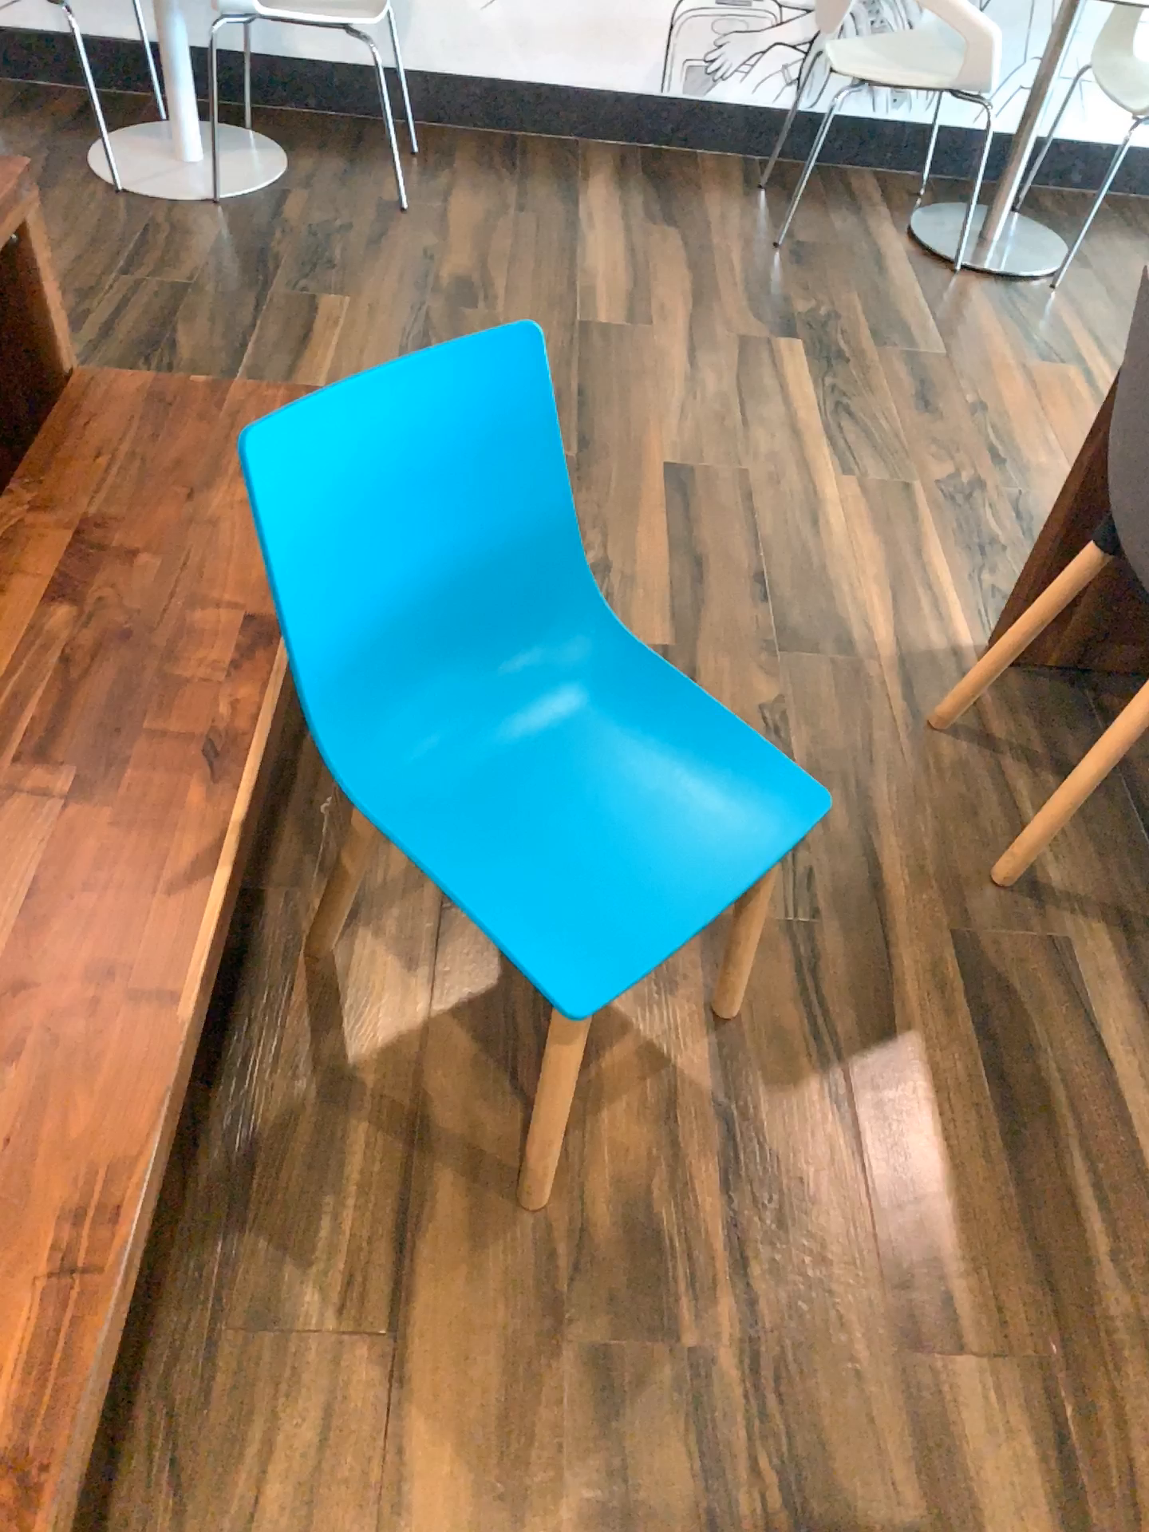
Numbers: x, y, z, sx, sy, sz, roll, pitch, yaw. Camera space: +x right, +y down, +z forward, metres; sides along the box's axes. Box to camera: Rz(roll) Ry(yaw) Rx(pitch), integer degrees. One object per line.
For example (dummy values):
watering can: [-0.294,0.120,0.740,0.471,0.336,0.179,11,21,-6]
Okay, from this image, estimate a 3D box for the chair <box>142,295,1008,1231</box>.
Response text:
chair: [-0.031,-0.012,1.276,0.512,0.665,0.582,-32,59,-32]
